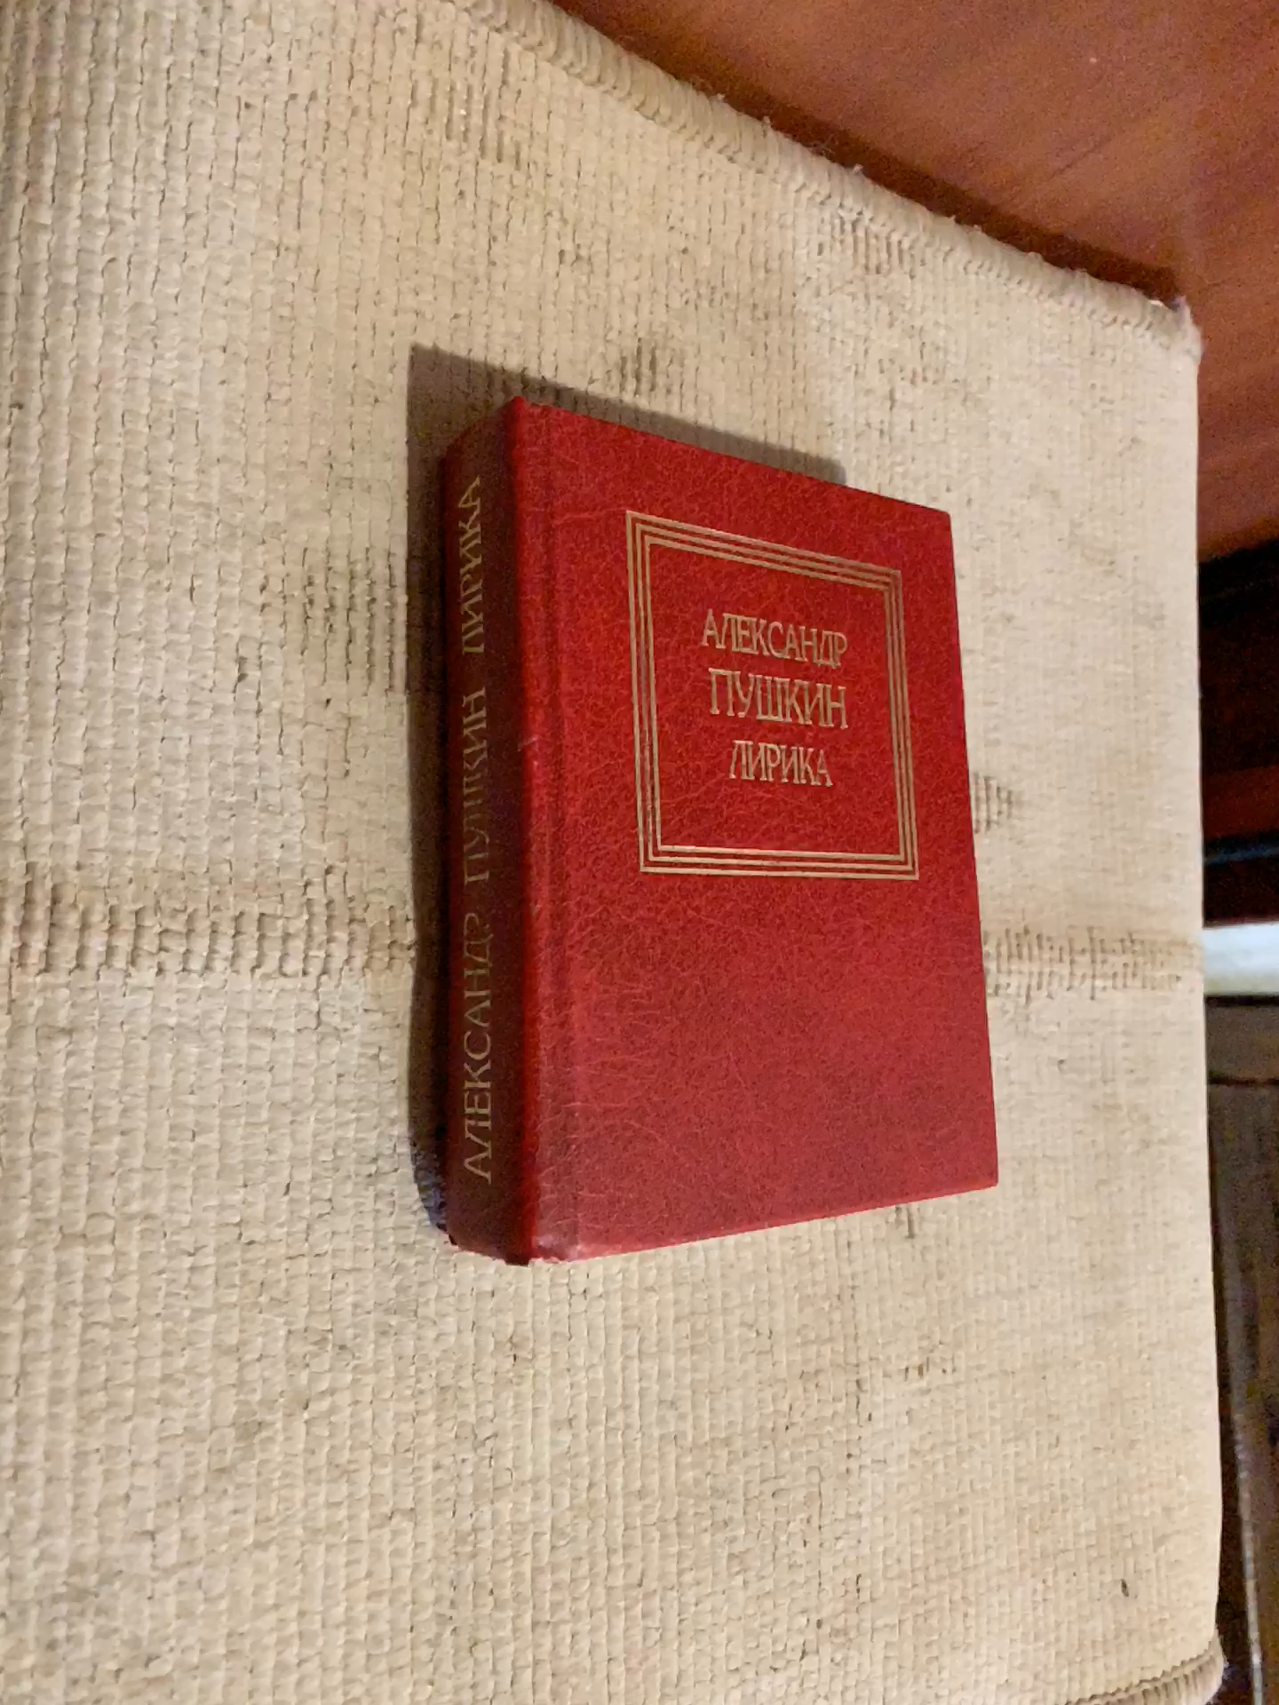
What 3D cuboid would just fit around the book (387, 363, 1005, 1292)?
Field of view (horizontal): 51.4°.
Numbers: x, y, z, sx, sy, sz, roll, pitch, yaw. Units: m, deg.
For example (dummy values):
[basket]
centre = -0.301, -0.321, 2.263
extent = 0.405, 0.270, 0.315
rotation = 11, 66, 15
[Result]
[book]
centre = 0.013, -0.002, 0.258
extent = 0.120, 0.034, 0.148
rotation = 4, 81, -35
